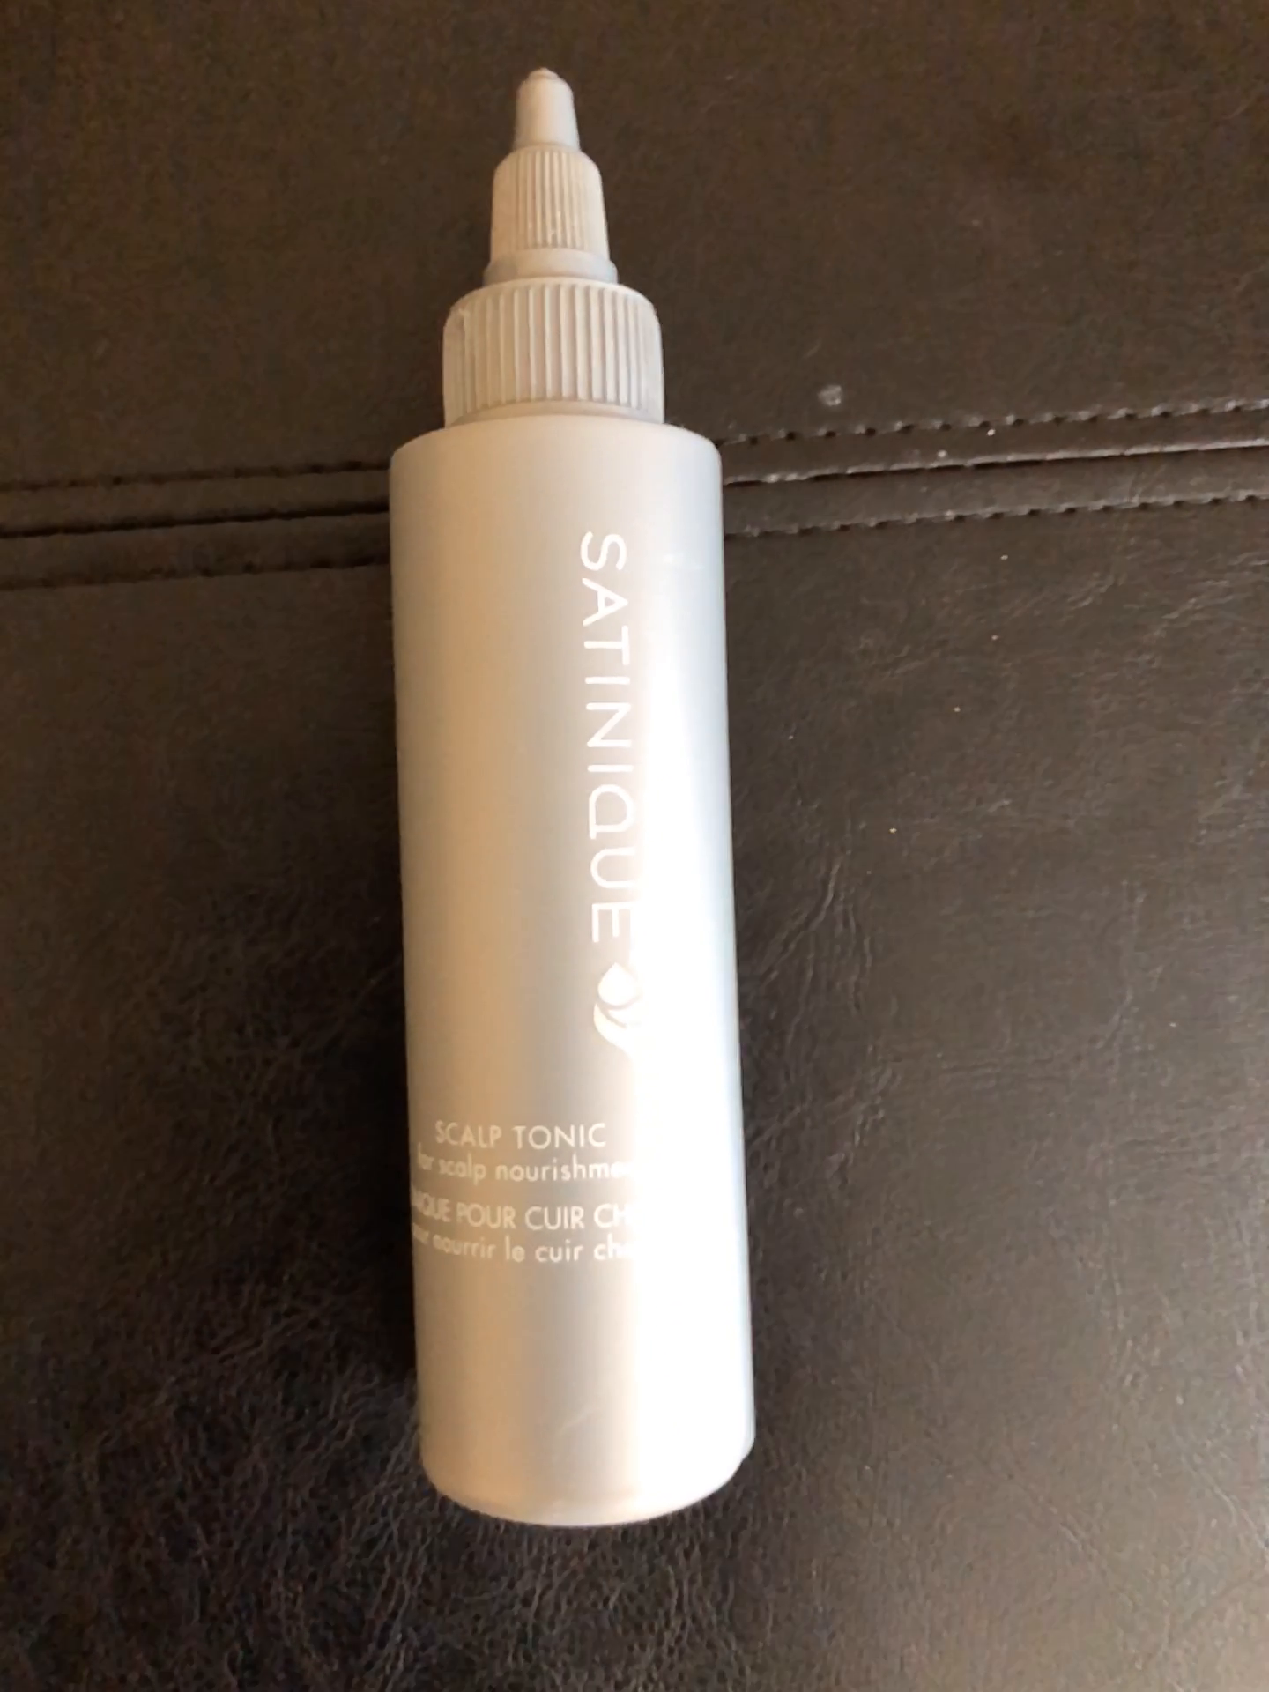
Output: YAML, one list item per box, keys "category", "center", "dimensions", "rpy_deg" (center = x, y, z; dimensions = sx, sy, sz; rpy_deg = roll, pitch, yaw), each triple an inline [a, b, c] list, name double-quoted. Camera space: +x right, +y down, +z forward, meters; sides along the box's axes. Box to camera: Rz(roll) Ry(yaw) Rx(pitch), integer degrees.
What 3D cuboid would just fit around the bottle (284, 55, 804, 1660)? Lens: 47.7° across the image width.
- category: "bottle"
  center: [-0.009, 0.000, 0.146]
  dimensions: [0.040, 0.040, 0.140]
  rpy_deg: [-2, 90, -4]
